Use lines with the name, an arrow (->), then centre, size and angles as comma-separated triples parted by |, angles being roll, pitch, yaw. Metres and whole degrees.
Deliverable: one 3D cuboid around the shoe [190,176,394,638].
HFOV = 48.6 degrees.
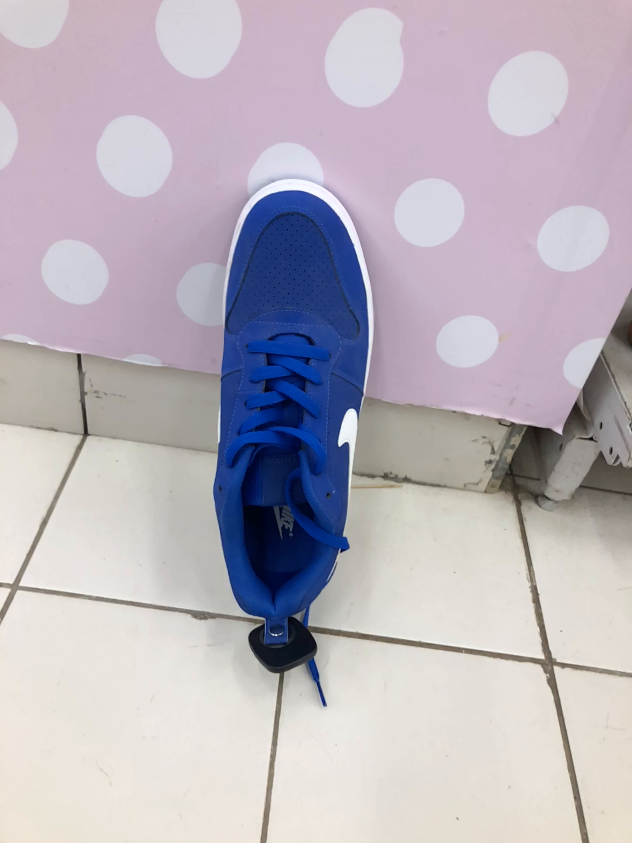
shoe -> -0.020, -0.008, 0.478 | 0.110, 0.289, 0.080 | 4, 13, -1
